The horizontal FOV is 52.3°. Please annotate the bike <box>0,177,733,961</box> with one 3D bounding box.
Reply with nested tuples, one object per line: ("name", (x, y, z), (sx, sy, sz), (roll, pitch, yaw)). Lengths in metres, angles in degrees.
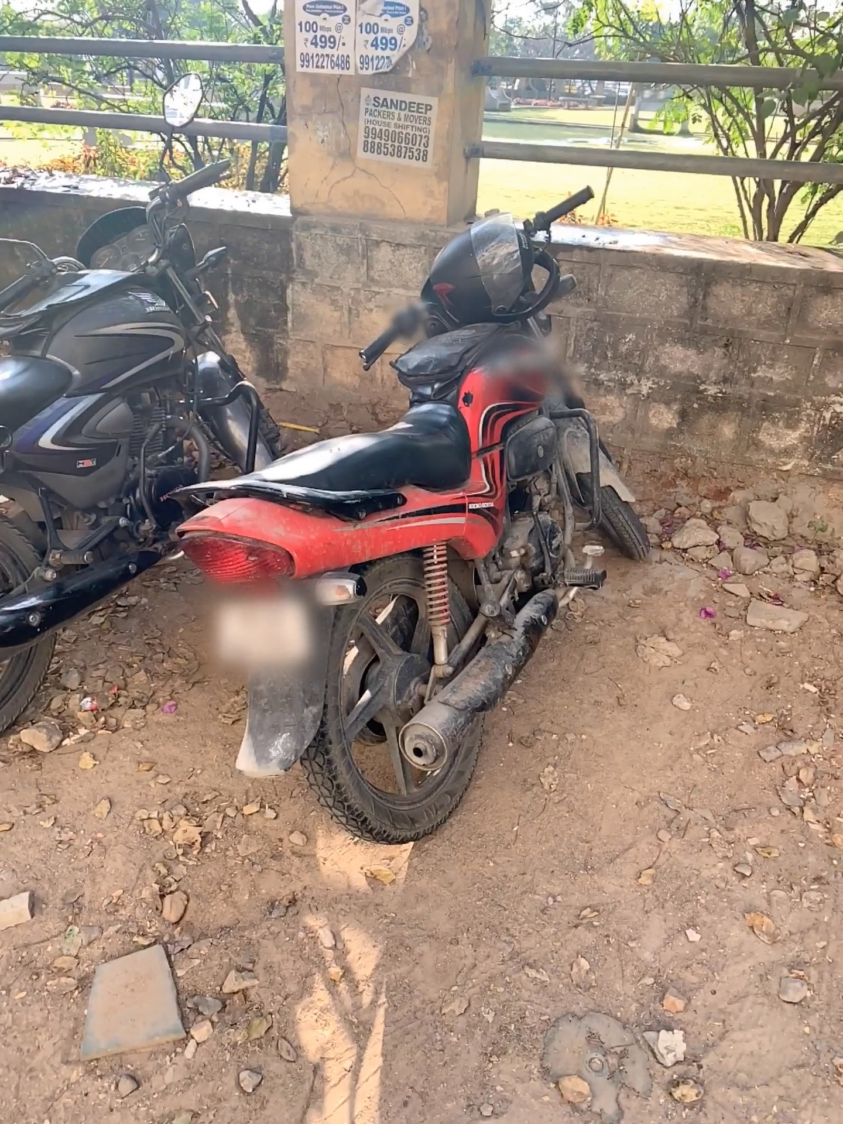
("bike", (-0.028, -0.224, 2.161), (1.065, 1.245, 1.601), (16, 30, 22))
